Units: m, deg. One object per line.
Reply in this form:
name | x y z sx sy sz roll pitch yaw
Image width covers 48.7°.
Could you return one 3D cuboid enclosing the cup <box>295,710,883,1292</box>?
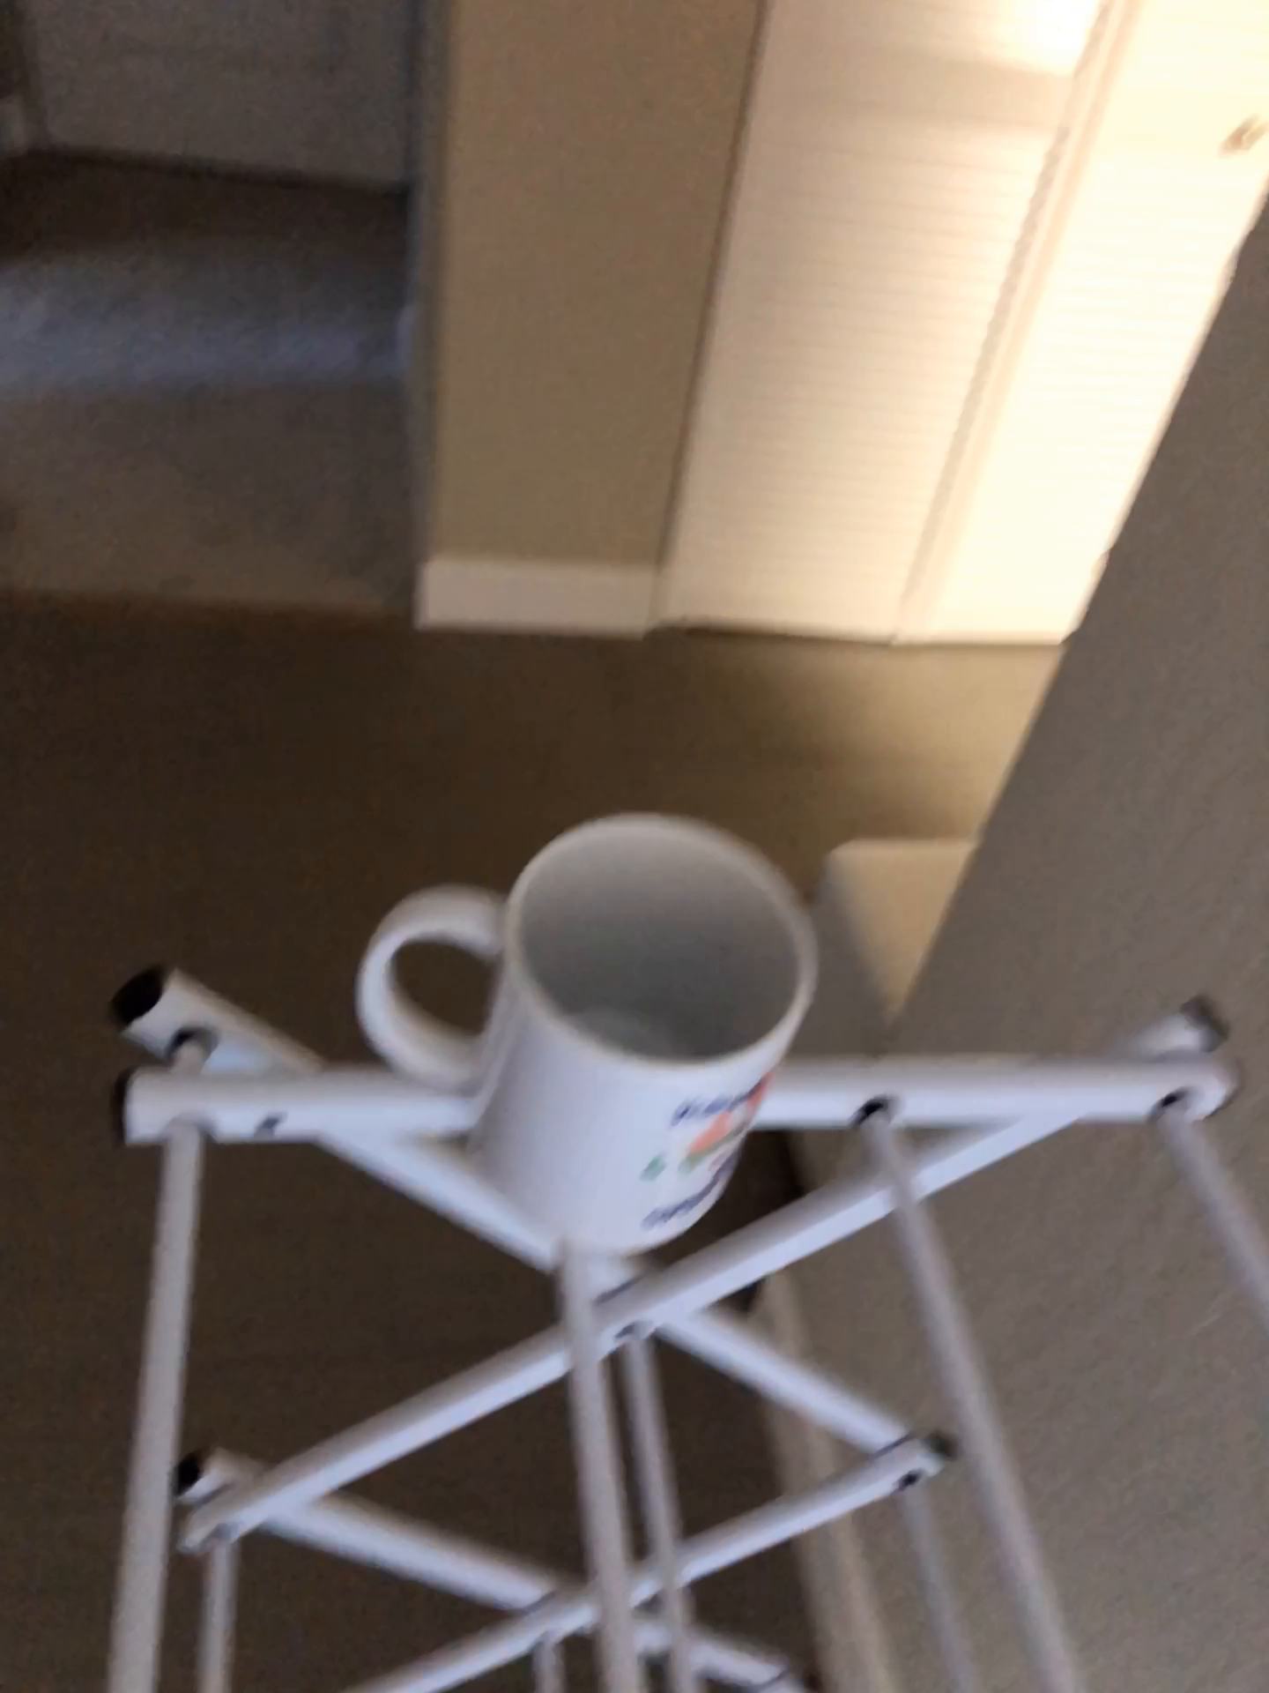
cup | -0.013 0.043 0.388 0.130 0.090 0.090 18 47 1
